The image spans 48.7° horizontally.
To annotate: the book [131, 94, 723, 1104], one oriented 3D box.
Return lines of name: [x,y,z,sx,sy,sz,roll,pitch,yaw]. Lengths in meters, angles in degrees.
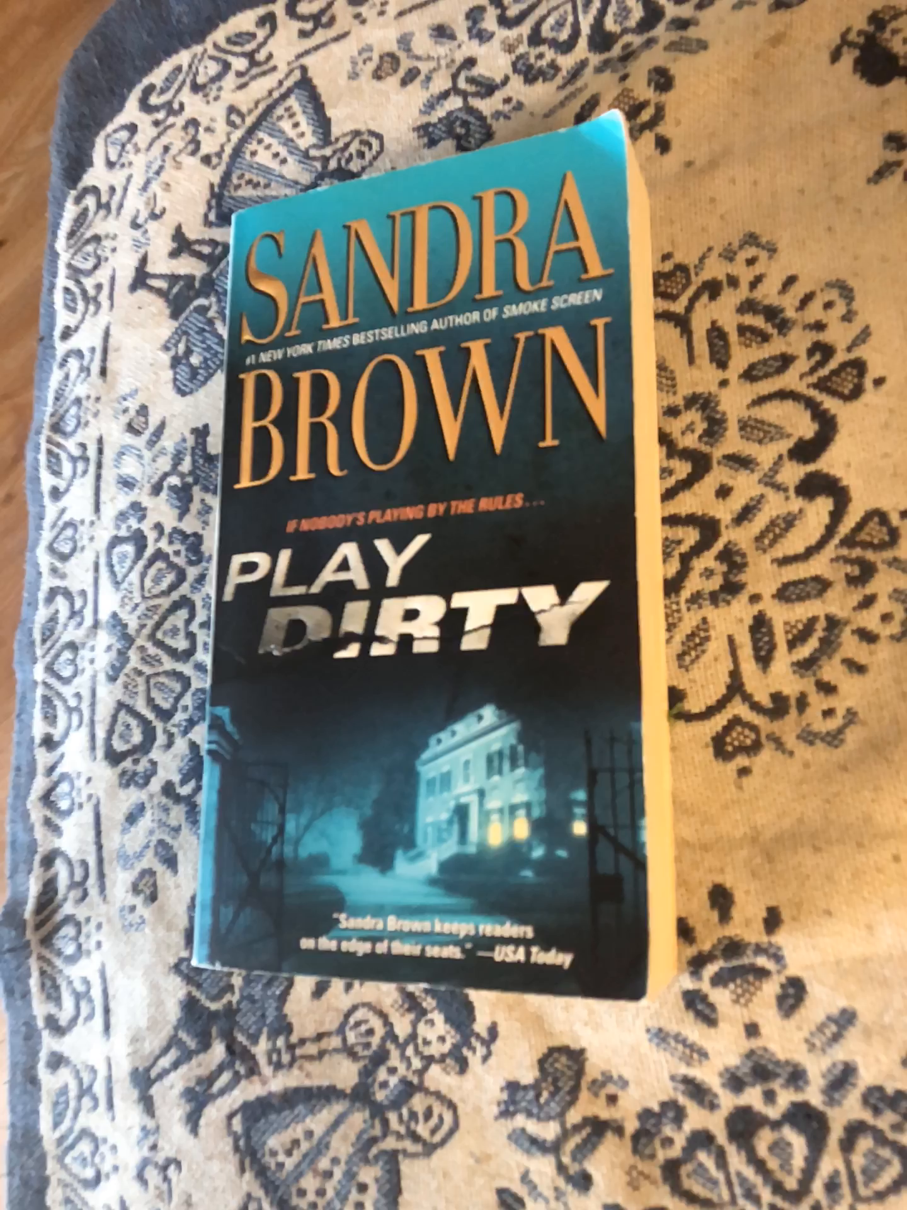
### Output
book: [-0.007,-0.002,0.214,0.110,0.040,0.180,-5,79,22]
